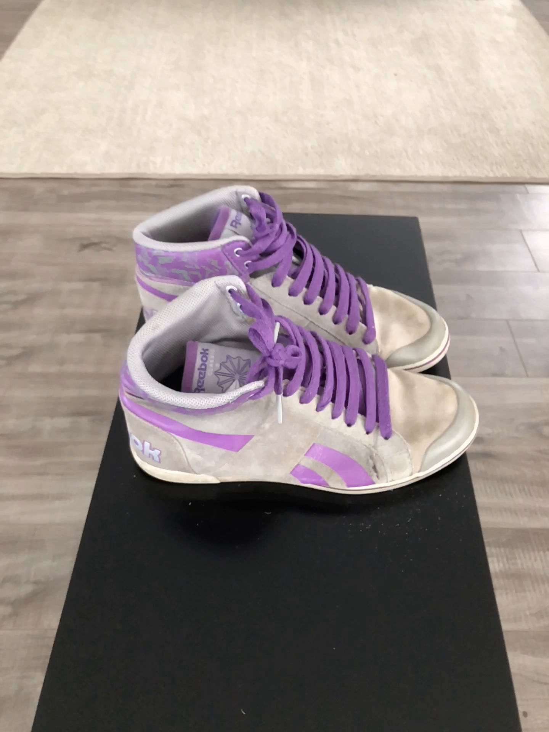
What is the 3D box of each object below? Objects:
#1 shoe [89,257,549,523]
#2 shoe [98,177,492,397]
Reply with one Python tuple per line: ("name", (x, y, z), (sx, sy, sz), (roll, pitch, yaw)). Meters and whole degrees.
("shoe", (0.025, 0.016, 0.378), (0.240, 0.120, 0.100), (-3, 48, -3))
("shoe", (0.014, -0.057, 0.440), (0.240, 0.110, 0.090), (4, 48, 3))
